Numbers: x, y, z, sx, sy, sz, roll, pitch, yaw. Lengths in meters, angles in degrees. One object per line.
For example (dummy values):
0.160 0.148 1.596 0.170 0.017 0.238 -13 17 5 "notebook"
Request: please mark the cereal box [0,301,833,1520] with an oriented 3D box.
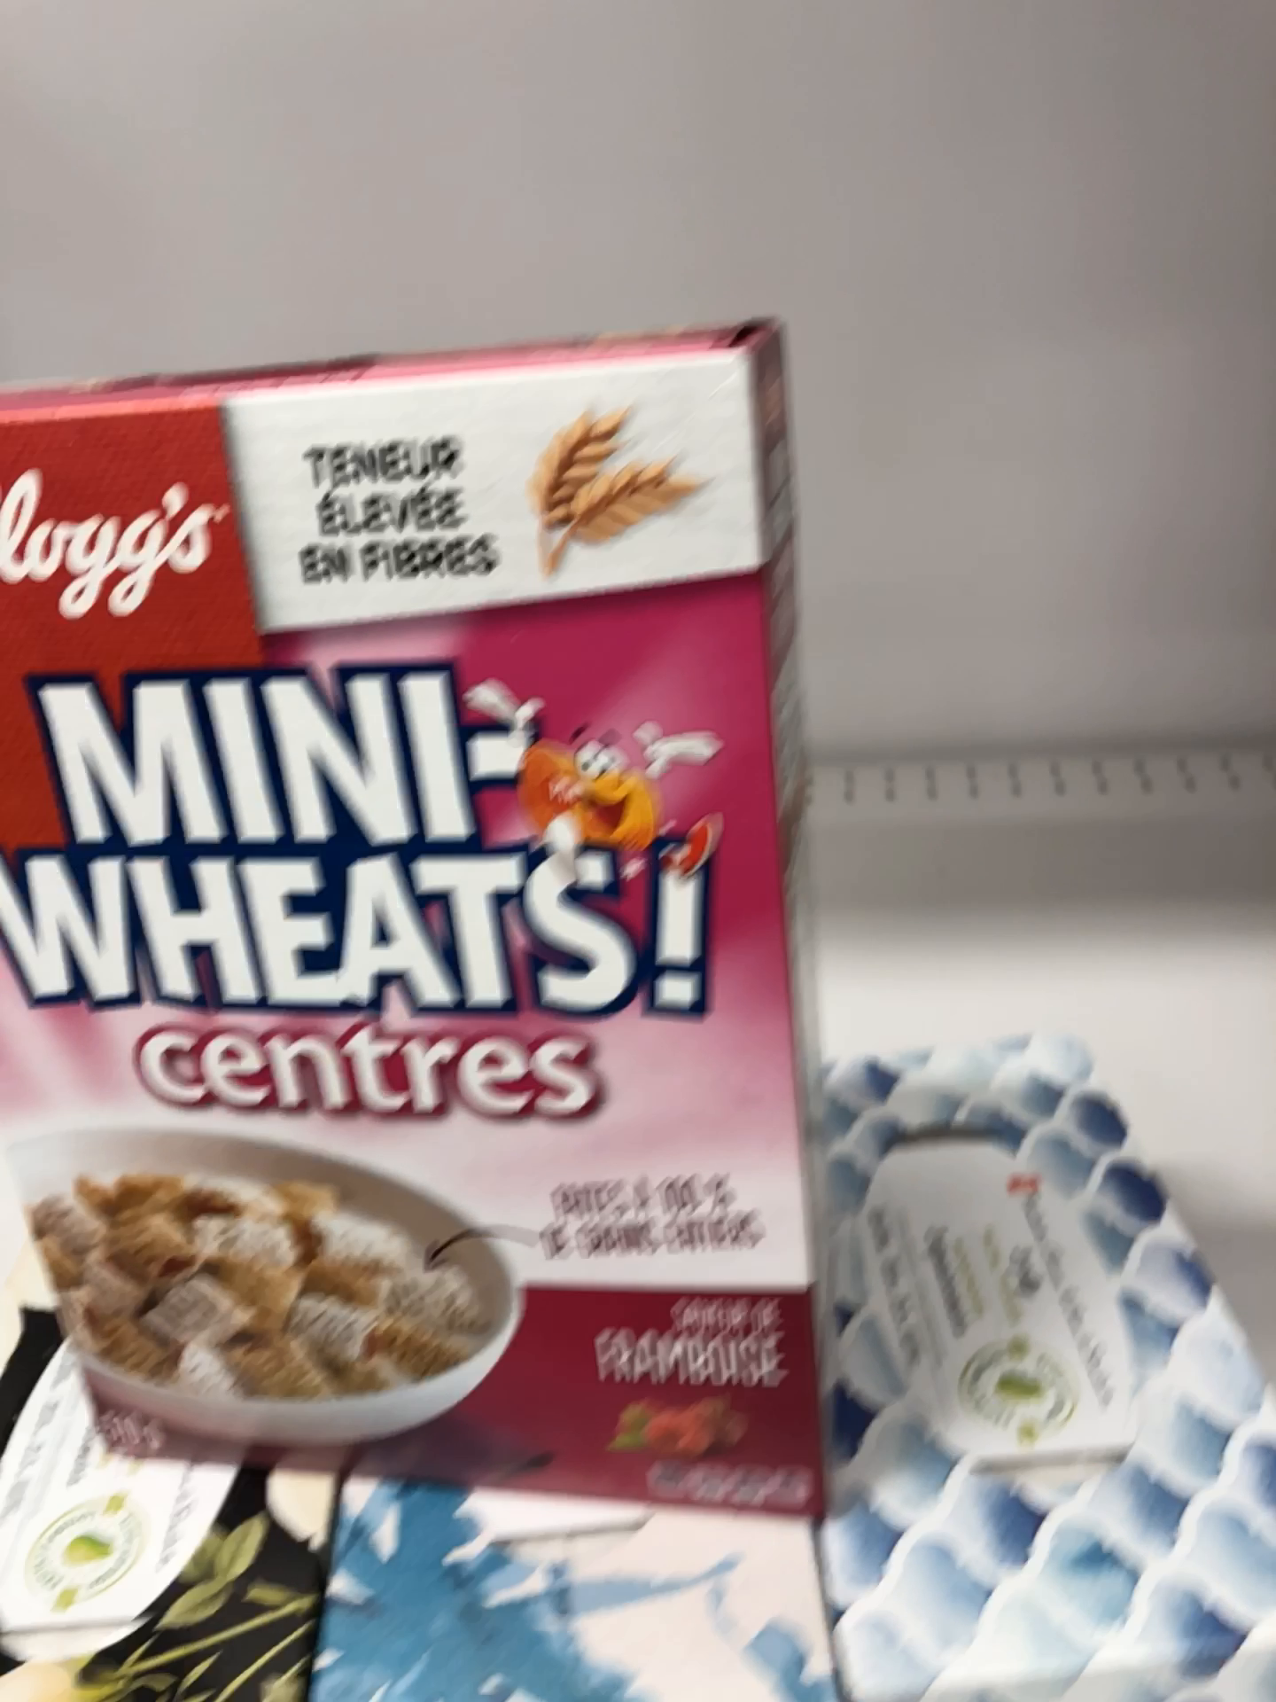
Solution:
-0.067 0.027 0.332 0.210 0.269 0.050 0 24 13 "cereal box"
